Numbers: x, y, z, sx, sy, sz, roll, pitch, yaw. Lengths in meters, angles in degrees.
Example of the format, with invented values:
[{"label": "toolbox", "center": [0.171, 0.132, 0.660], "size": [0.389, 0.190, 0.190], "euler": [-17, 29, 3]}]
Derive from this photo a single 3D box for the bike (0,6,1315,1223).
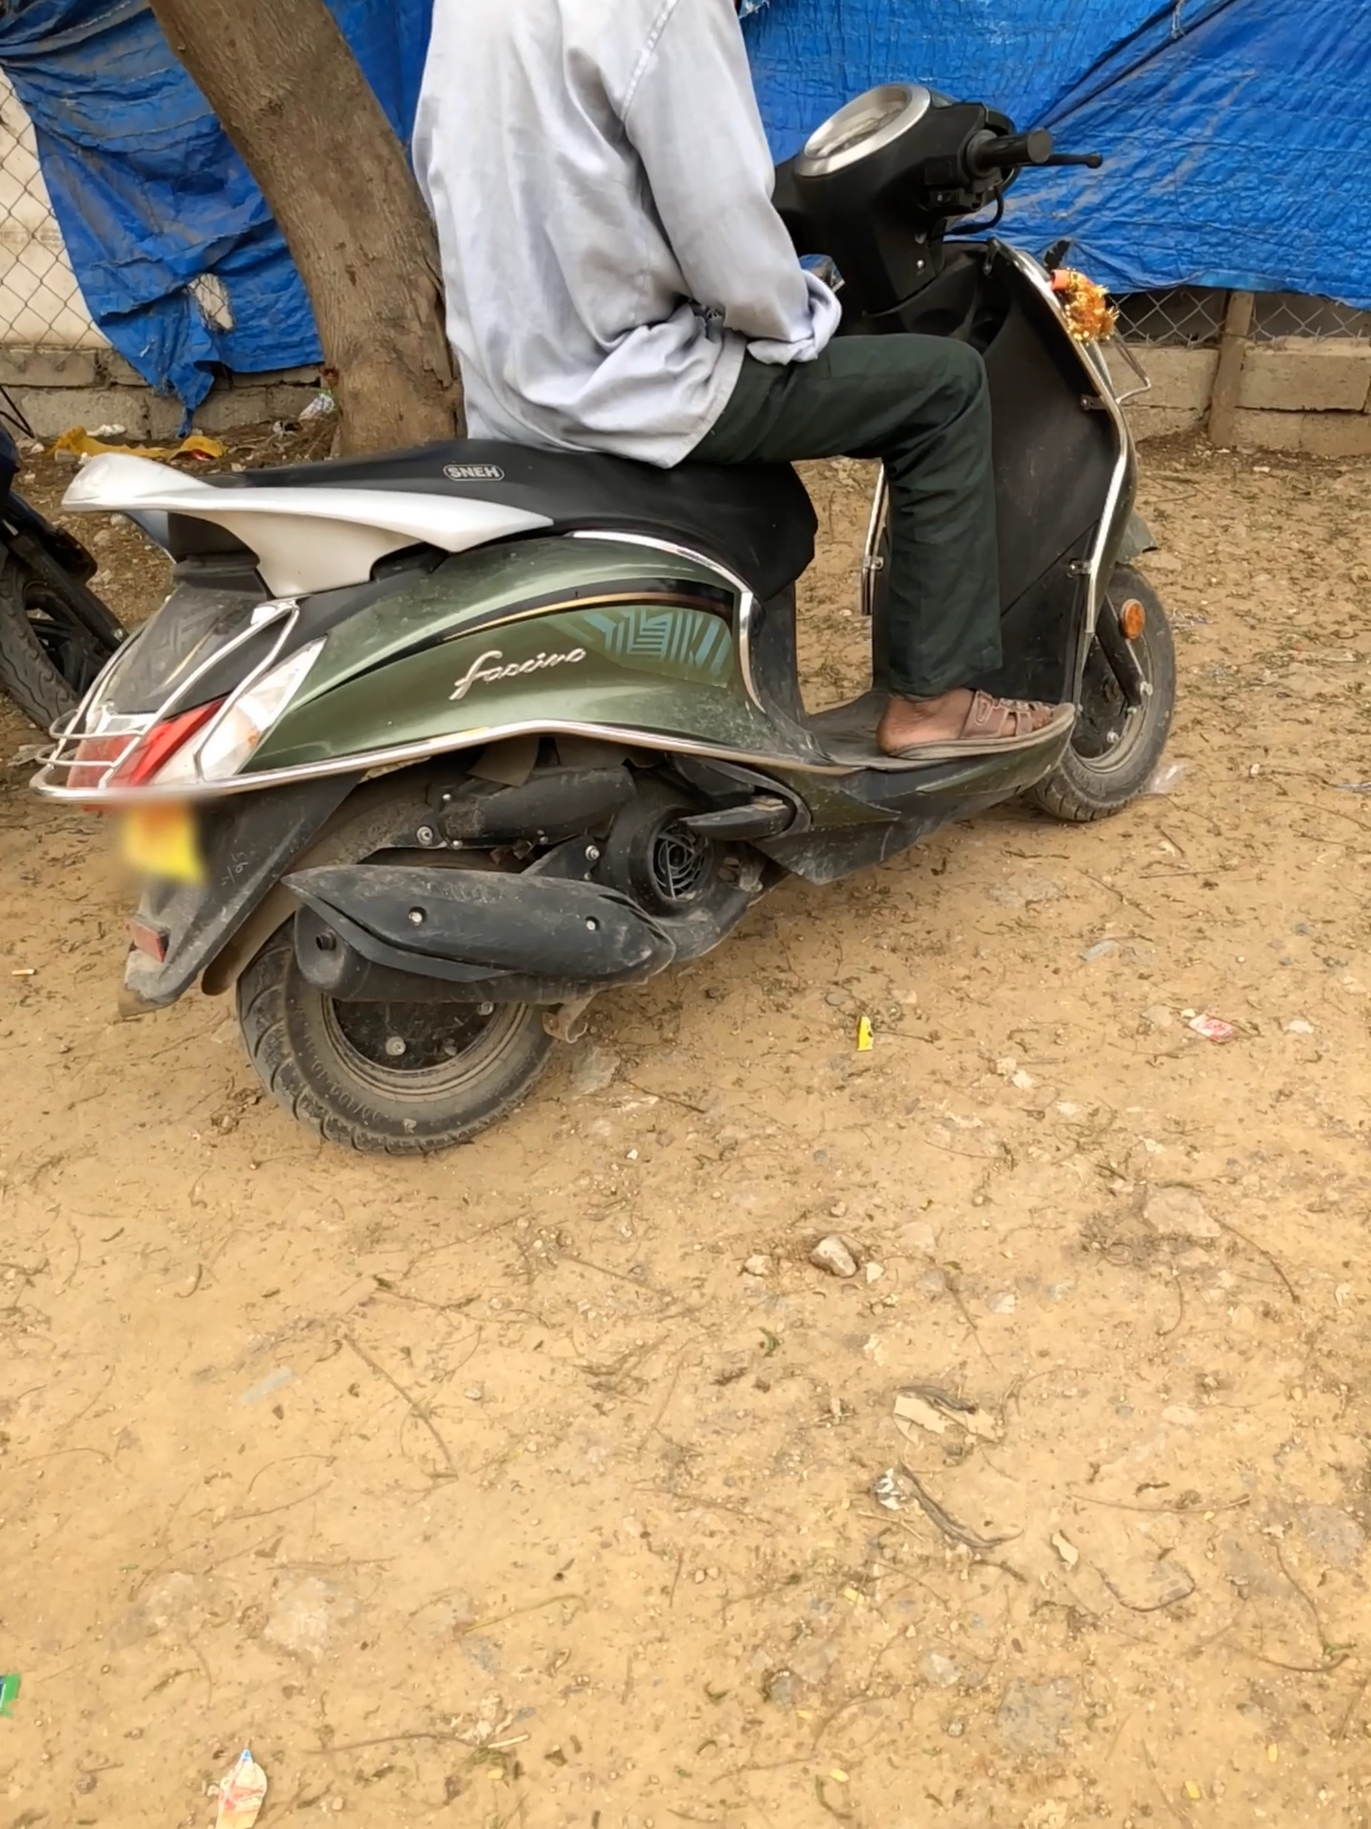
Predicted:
[{"label": "bike", "center": [0.068, -0.593, 2.109], "size": [1.728, 1.054, 0.623], "euler": [-26, 37, -34]}]
